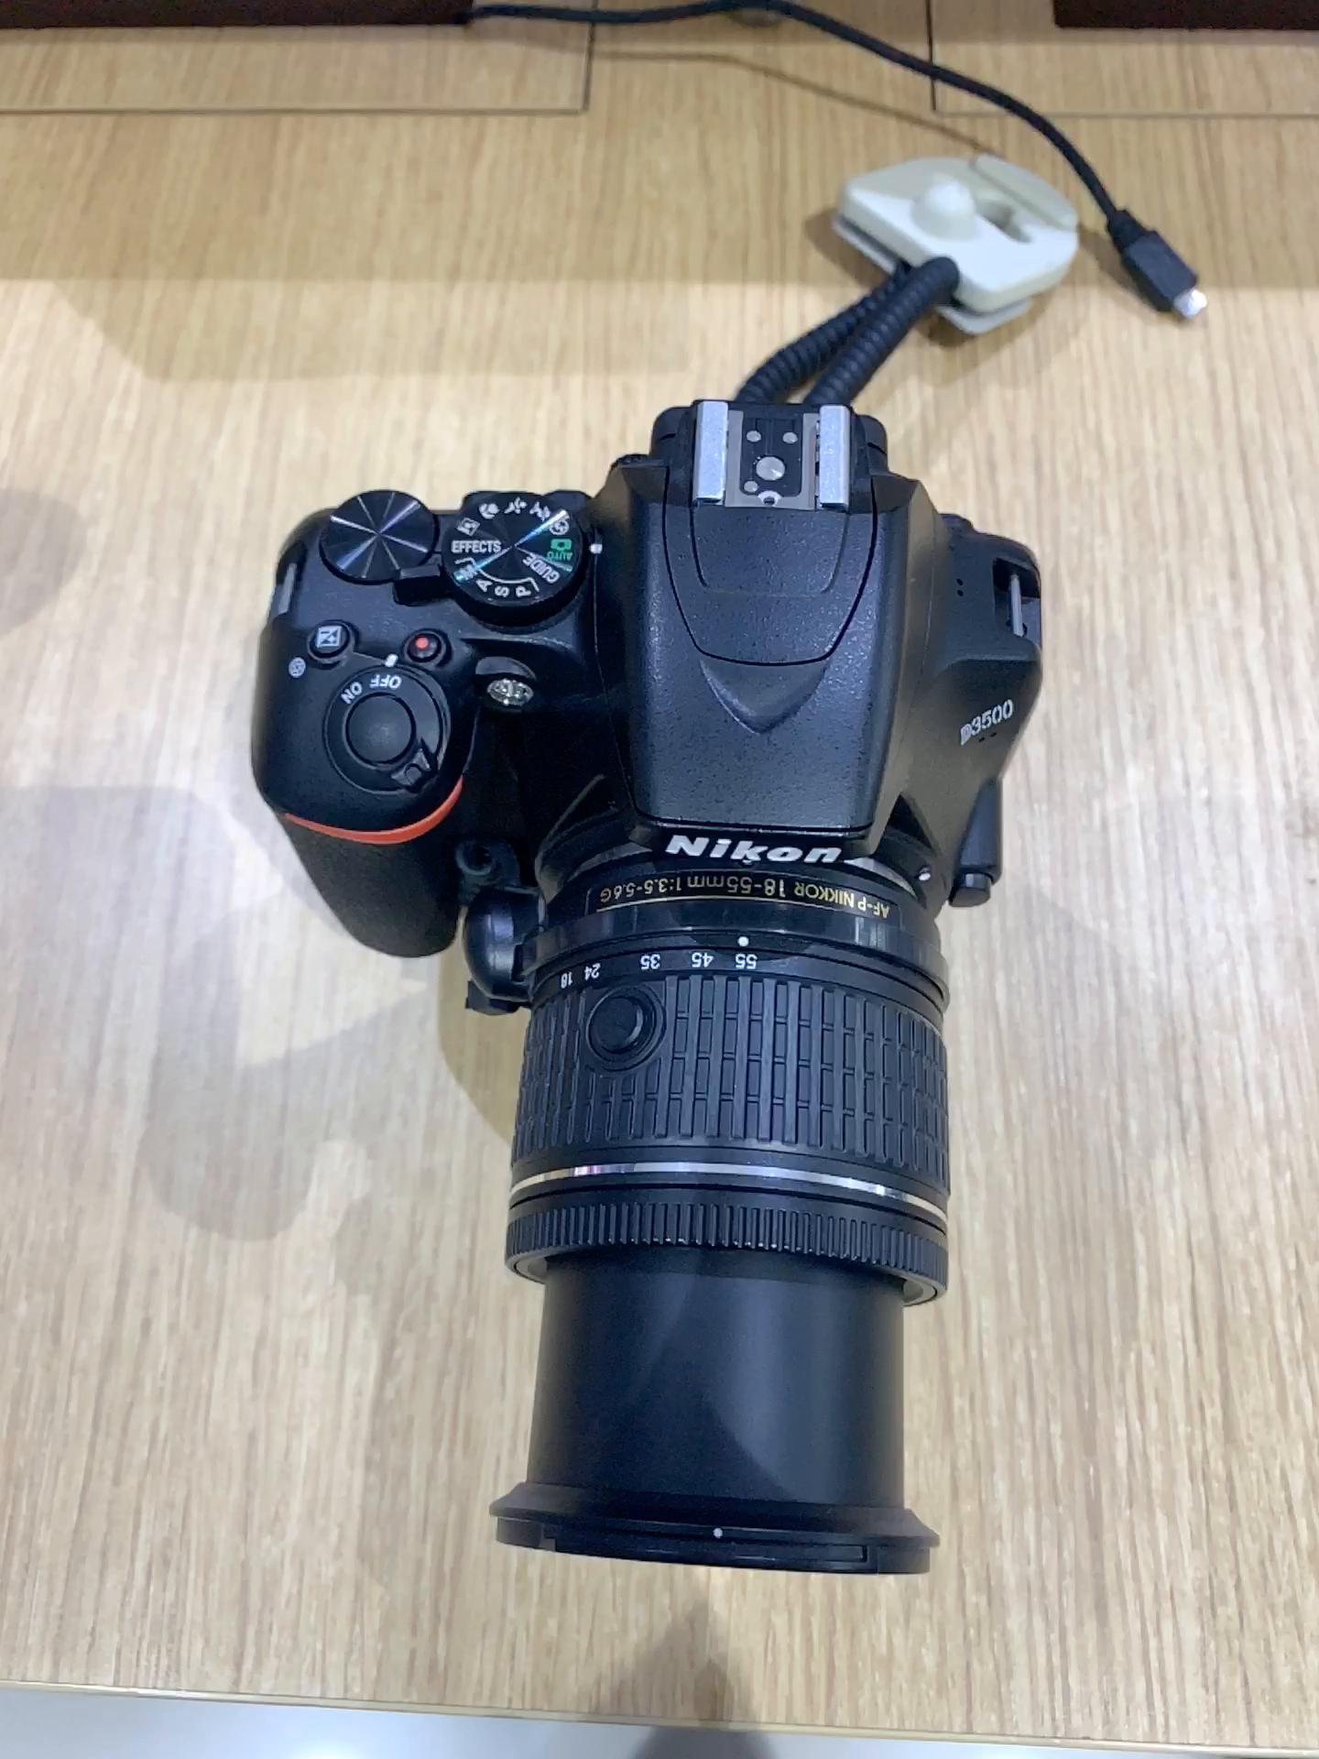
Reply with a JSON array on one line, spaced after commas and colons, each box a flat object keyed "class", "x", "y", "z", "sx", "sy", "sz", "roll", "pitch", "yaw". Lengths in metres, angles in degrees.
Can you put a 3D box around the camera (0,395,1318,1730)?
[{"class": "camera", "x": 0.003, "y": 0.023, "z": 0.181, "sx": 0.117, "sy": 0.095, "sz": 0.131, "roll": 3, "pitch": 67, "yaw": 3}]
